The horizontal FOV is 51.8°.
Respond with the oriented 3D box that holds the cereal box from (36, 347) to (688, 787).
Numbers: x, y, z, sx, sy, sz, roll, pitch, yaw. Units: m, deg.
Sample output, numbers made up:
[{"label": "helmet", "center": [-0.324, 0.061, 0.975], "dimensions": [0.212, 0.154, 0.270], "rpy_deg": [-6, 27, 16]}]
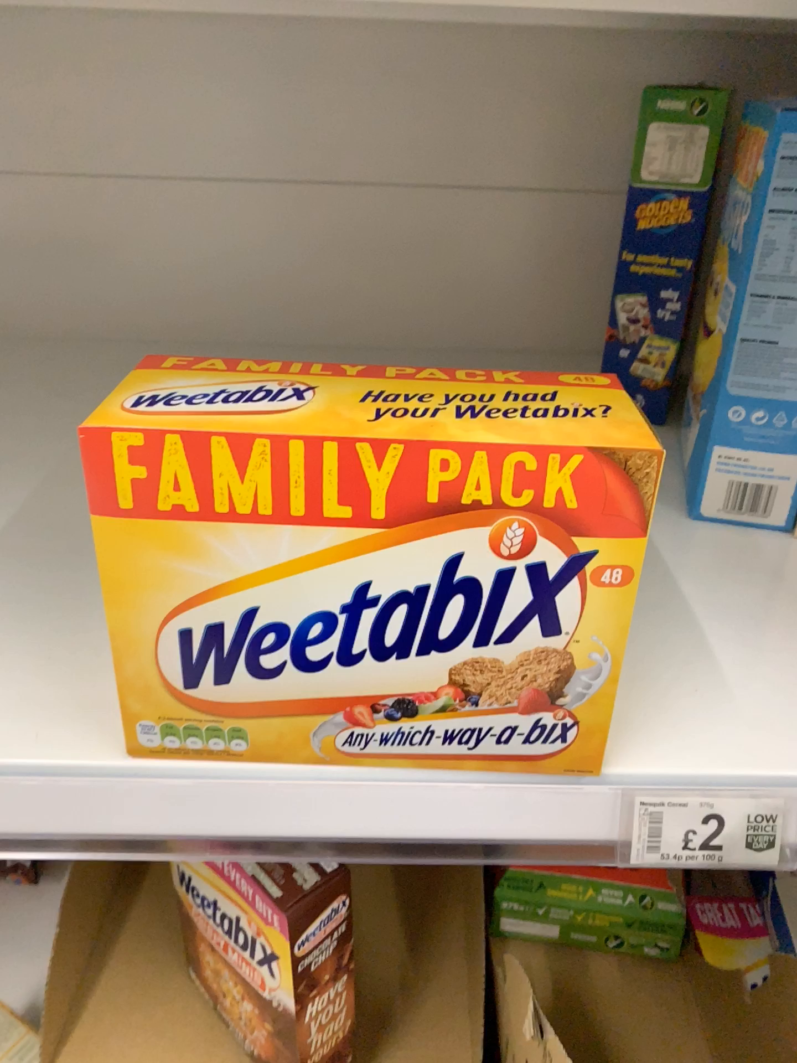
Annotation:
[{"label": "cereal box", "center": [-0.017, 0.019, 0.412], "dimensions": [0.260, 0.188, 0.091], "rpy_deg": [3, 29, 0]}]
